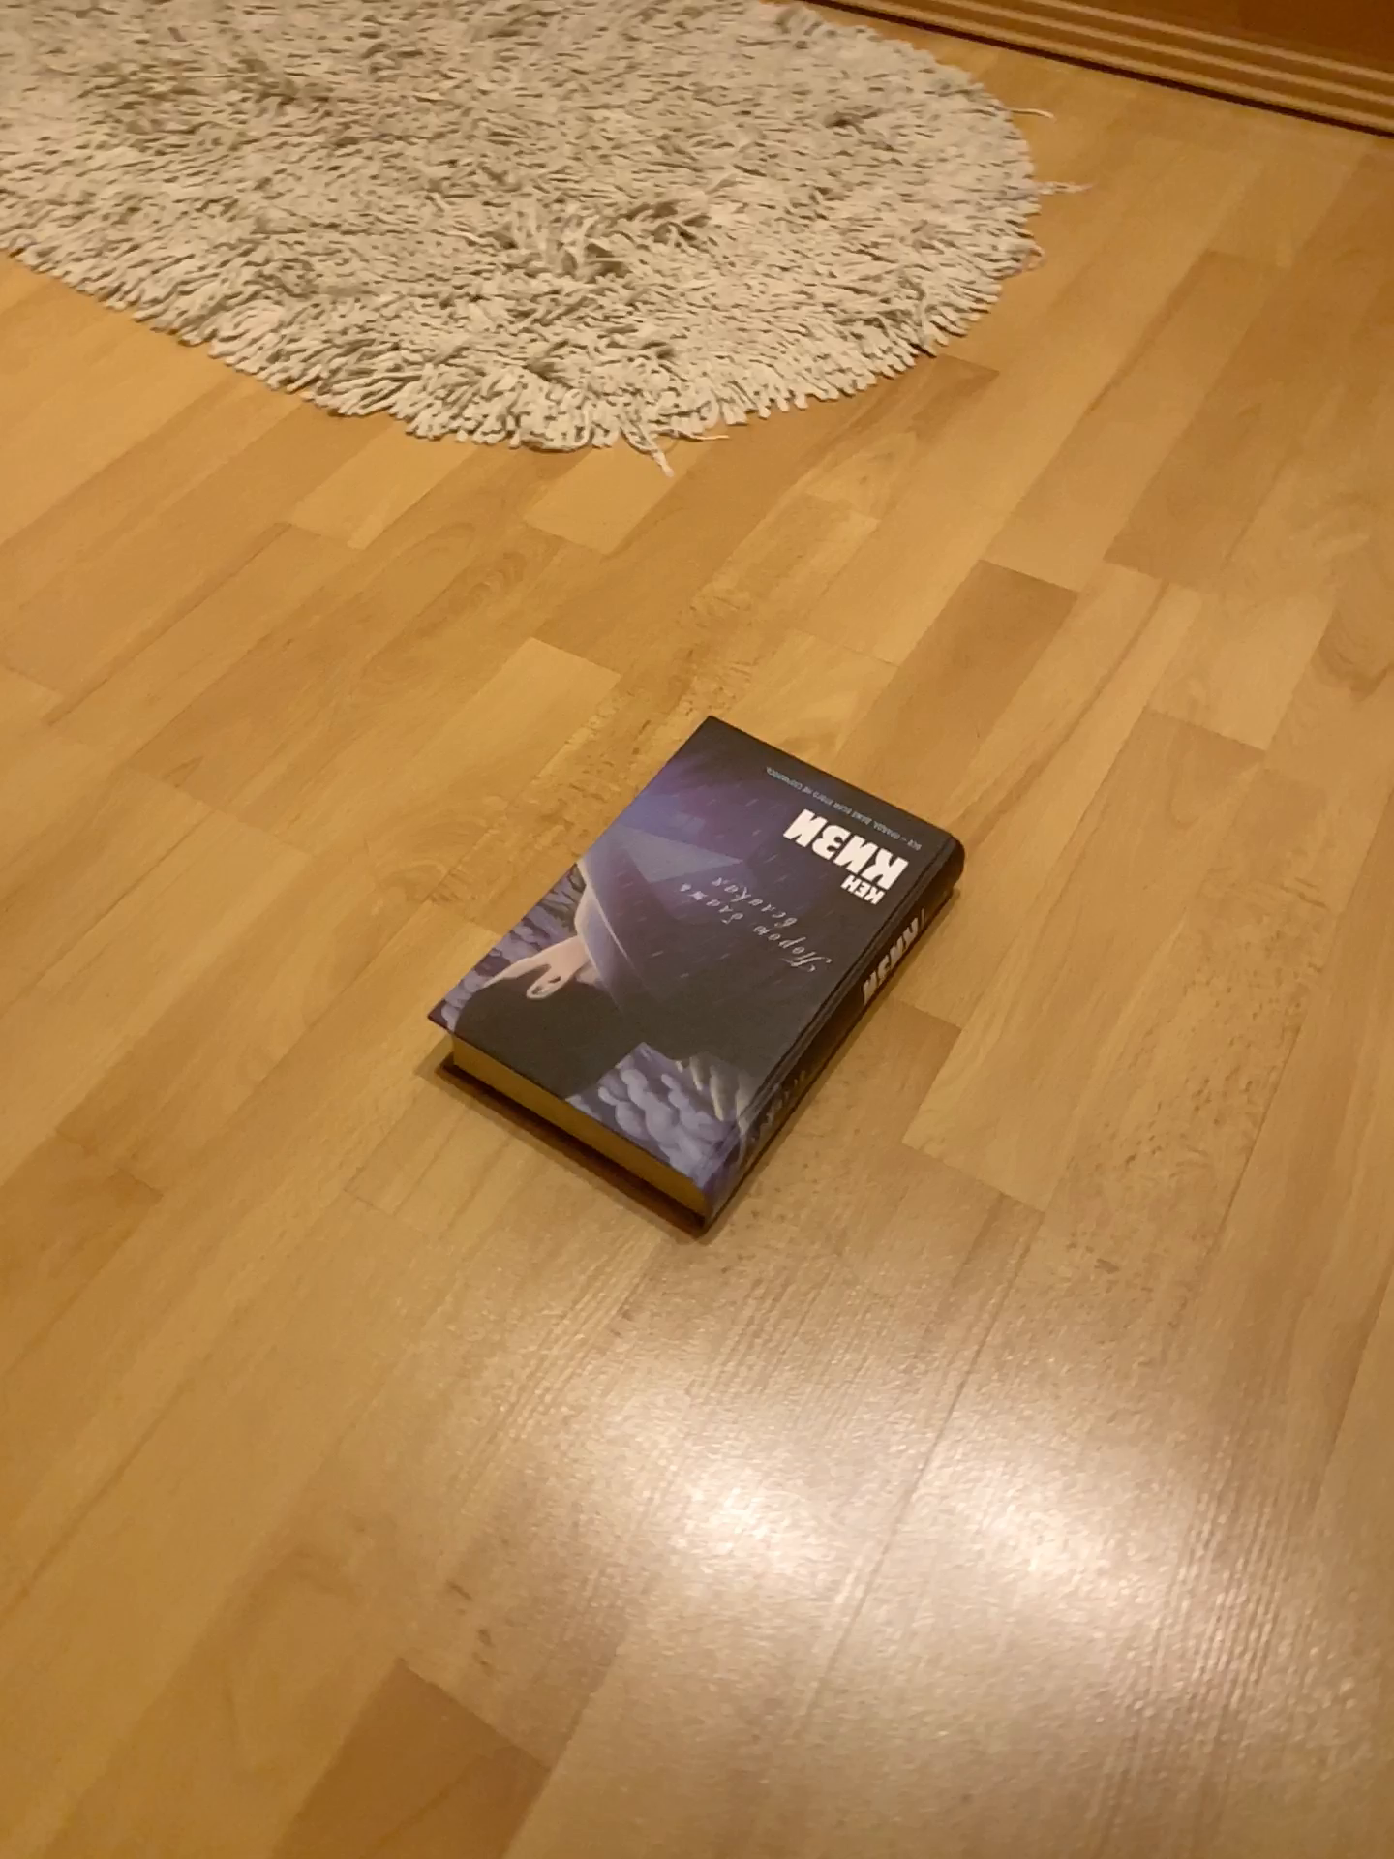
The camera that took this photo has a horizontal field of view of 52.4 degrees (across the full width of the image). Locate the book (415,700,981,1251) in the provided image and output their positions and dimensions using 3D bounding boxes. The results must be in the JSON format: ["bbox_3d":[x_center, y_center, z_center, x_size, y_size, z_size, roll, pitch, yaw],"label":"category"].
[{"bbox_3d":[0.006,0.009,0.647,0.150,0.050,0.225,29,59,19],"label":"book"}]
